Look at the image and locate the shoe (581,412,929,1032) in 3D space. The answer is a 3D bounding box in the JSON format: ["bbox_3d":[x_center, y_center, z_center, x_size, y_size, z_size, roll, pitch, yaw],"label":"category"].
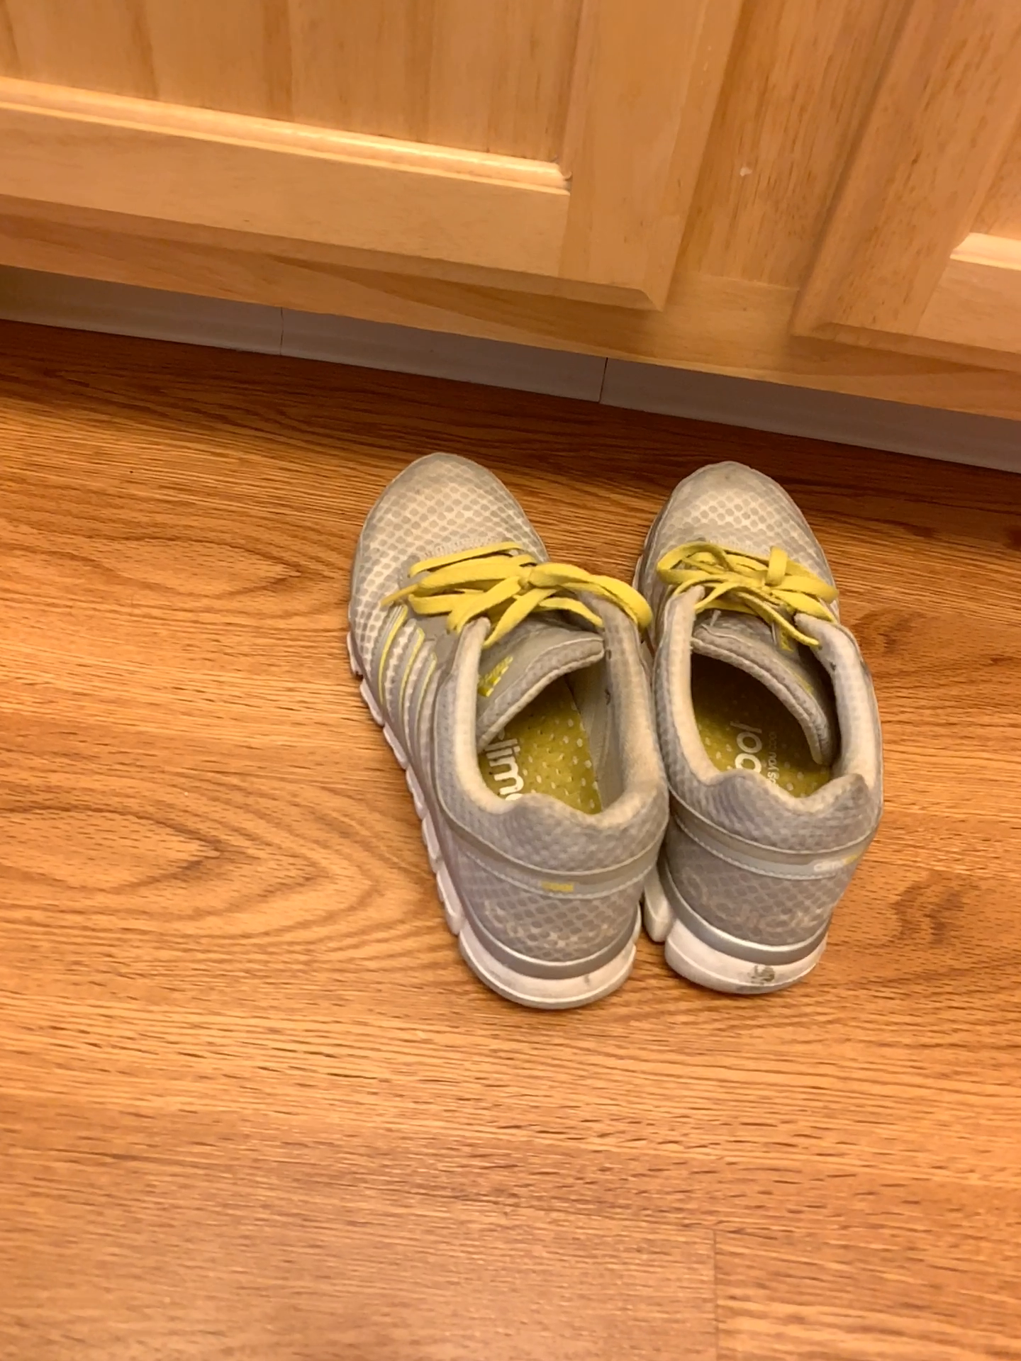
[{"bbox_3d":[0.096,0.012,0.449,0.090,0.129,0.221,10,52,0],"label":"shoe"}]

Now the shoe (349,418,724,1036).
[{"bbox_3d":[-0.007,0.013,0.463,0.090,0.129,0.231,-8,54,-14],"label":"shoe"}]
